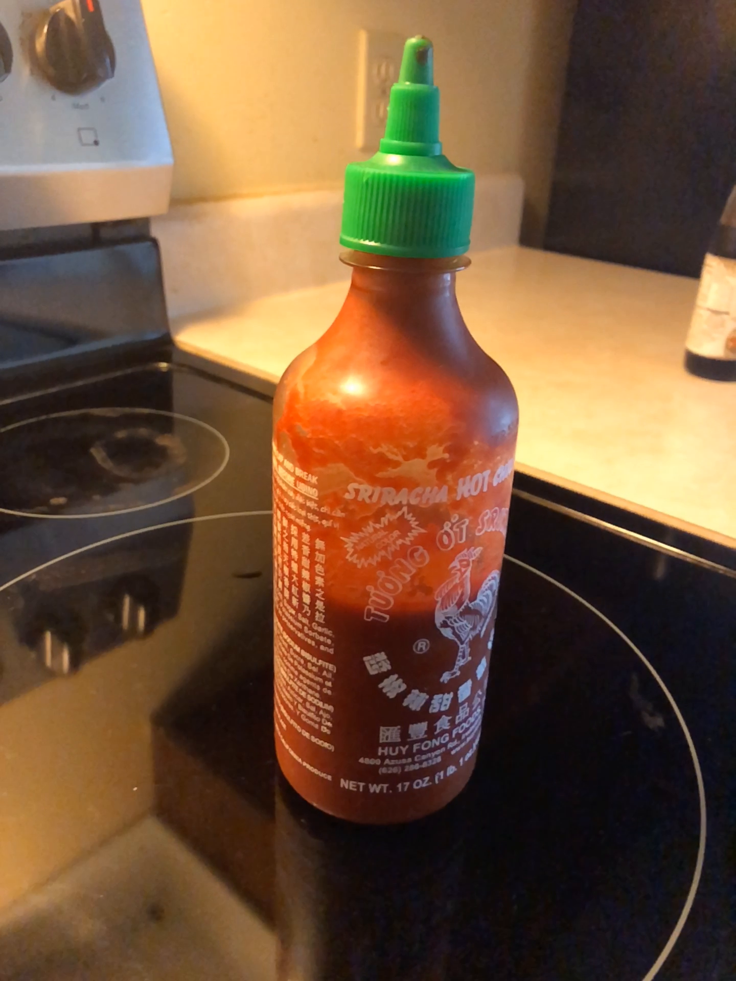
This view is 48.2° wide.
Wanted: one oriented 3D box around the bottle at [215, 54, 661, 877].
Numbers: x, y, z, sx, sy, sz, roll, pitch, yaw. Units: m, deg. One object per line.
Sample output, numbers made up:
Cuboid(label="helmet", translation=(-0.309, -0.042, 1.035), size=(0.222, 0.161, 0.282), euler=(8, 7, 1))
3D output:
Cuboid(label="bottle", translation=(0.011, -0.005, 0.226), size=(0.070, 0.199, 0.070), euler=(2, 26, -1))
